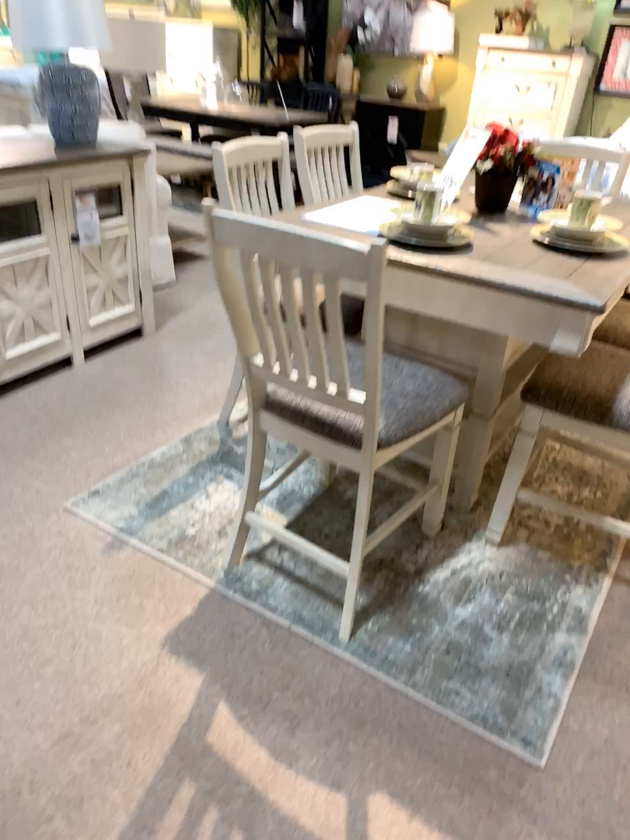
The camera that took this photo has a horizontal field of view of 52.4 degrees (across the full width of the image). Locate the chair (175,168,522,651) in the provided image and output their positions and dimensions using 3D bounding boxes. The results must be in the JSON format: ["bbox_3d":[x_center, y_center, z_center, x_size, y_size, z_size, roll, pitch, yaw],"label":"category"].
[{"bbox_3d":[0.063,-0.062,1.576,0.491,0.925,0.592,23,35,28],"label":"chair"}]
